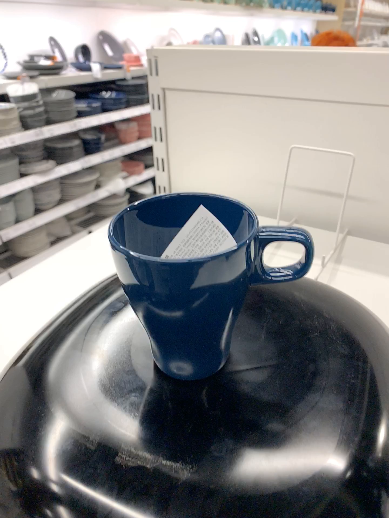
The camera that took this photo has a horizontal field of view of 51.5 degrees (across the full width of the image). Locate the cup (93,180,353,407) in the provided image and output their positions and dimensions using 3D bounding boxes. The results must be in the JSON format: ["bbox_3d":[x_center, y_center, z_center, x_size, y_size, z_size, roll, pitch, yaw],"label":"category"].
[{"bbox_3d":[0.011,0.016,0.248,0.120,0.100,0.090,-3,29,-4],"label":"cup"}]
